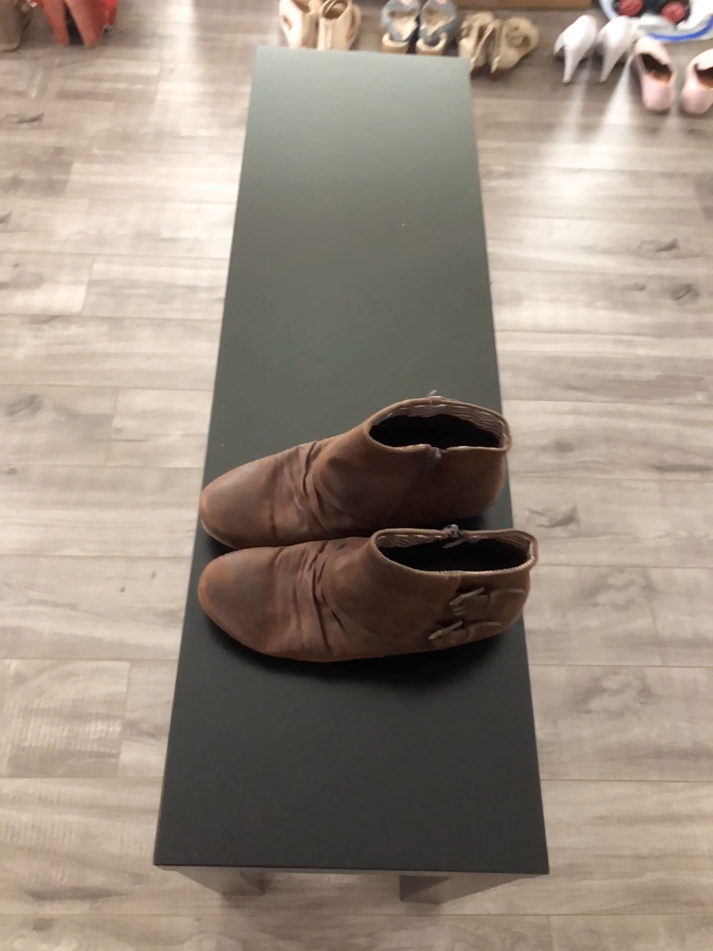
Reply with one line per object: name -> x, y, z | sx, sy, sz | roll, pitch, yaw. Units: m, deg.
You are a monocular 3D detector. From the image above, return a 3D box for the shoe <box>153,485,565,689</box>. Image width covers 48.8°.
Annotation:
shoe -> 0.000, 0.078, 0.527 | 0.240, 0.110, 0.090 | 3, 59, -2

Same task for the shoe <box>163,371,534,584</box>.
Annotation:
shoe -> -0.011, 0.004, 0.583 | 0.240, 0.130, 0.090 | -4, 60, -6
